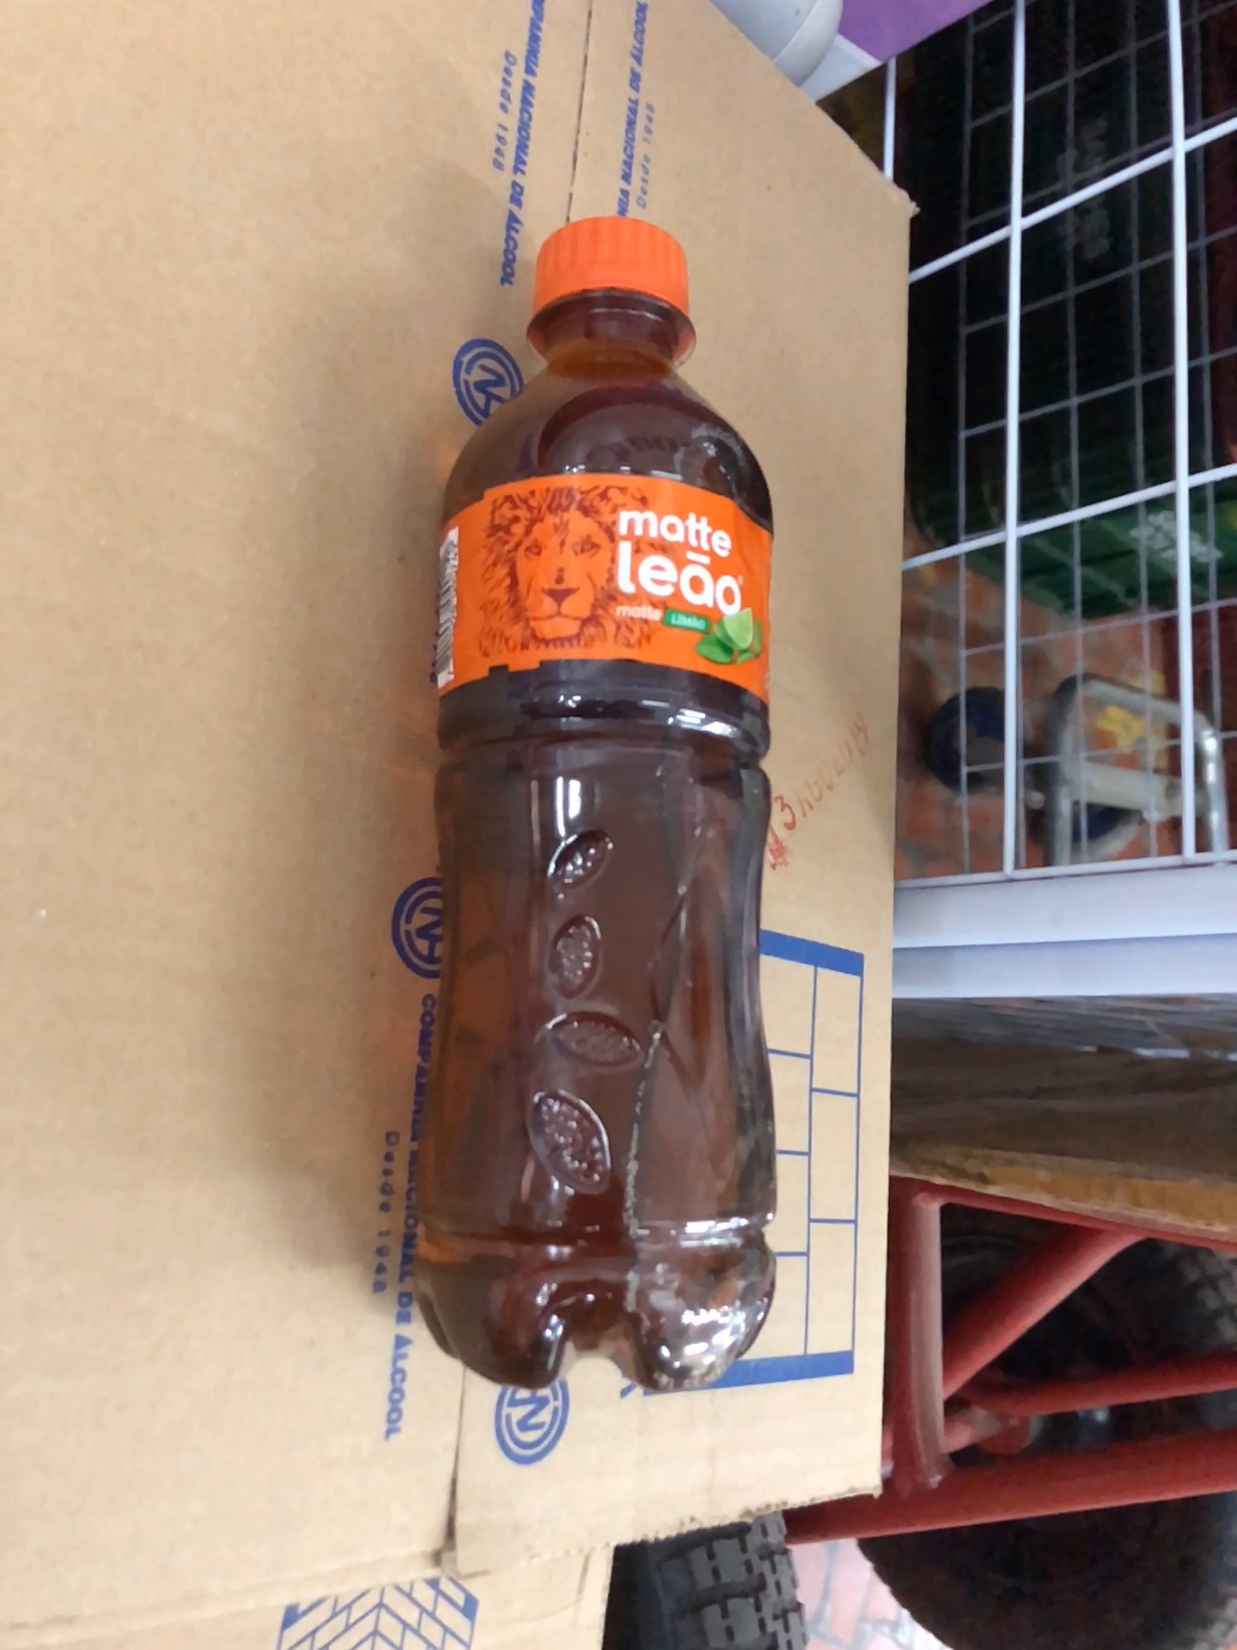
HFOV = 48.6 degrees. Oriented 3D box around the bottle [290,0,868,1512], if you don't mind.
[{"bbox_3d":[-0.004,-0.015,0.236,0.070,0.060,0.220,10,77,-44],"label":"bottle"}]
